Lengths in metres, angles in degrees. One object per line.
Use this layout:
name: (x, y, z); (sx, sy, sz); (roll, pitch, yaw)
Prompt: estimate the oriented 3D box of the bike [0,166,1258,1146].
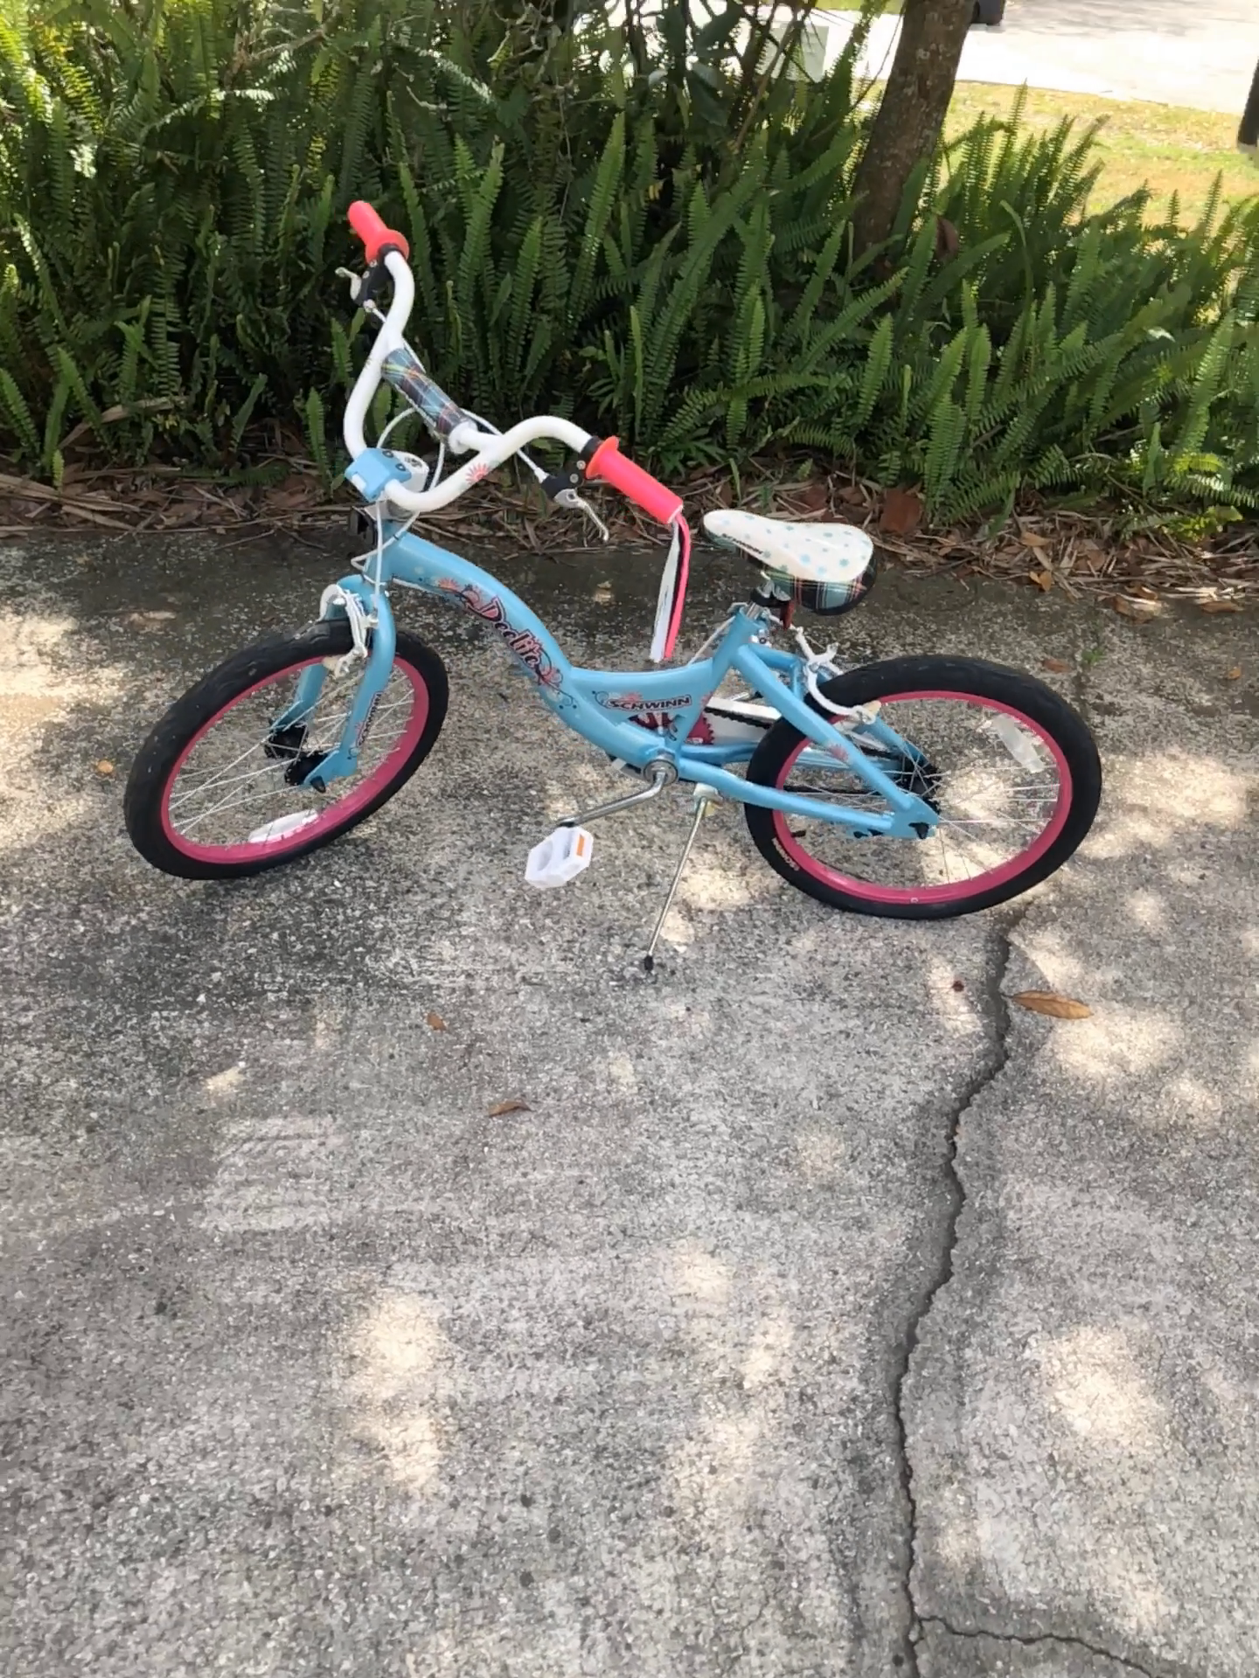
bike: (0.011, -0.215, 1.710); (1.308, 0.923, 0.704); (1, 35, -6)
